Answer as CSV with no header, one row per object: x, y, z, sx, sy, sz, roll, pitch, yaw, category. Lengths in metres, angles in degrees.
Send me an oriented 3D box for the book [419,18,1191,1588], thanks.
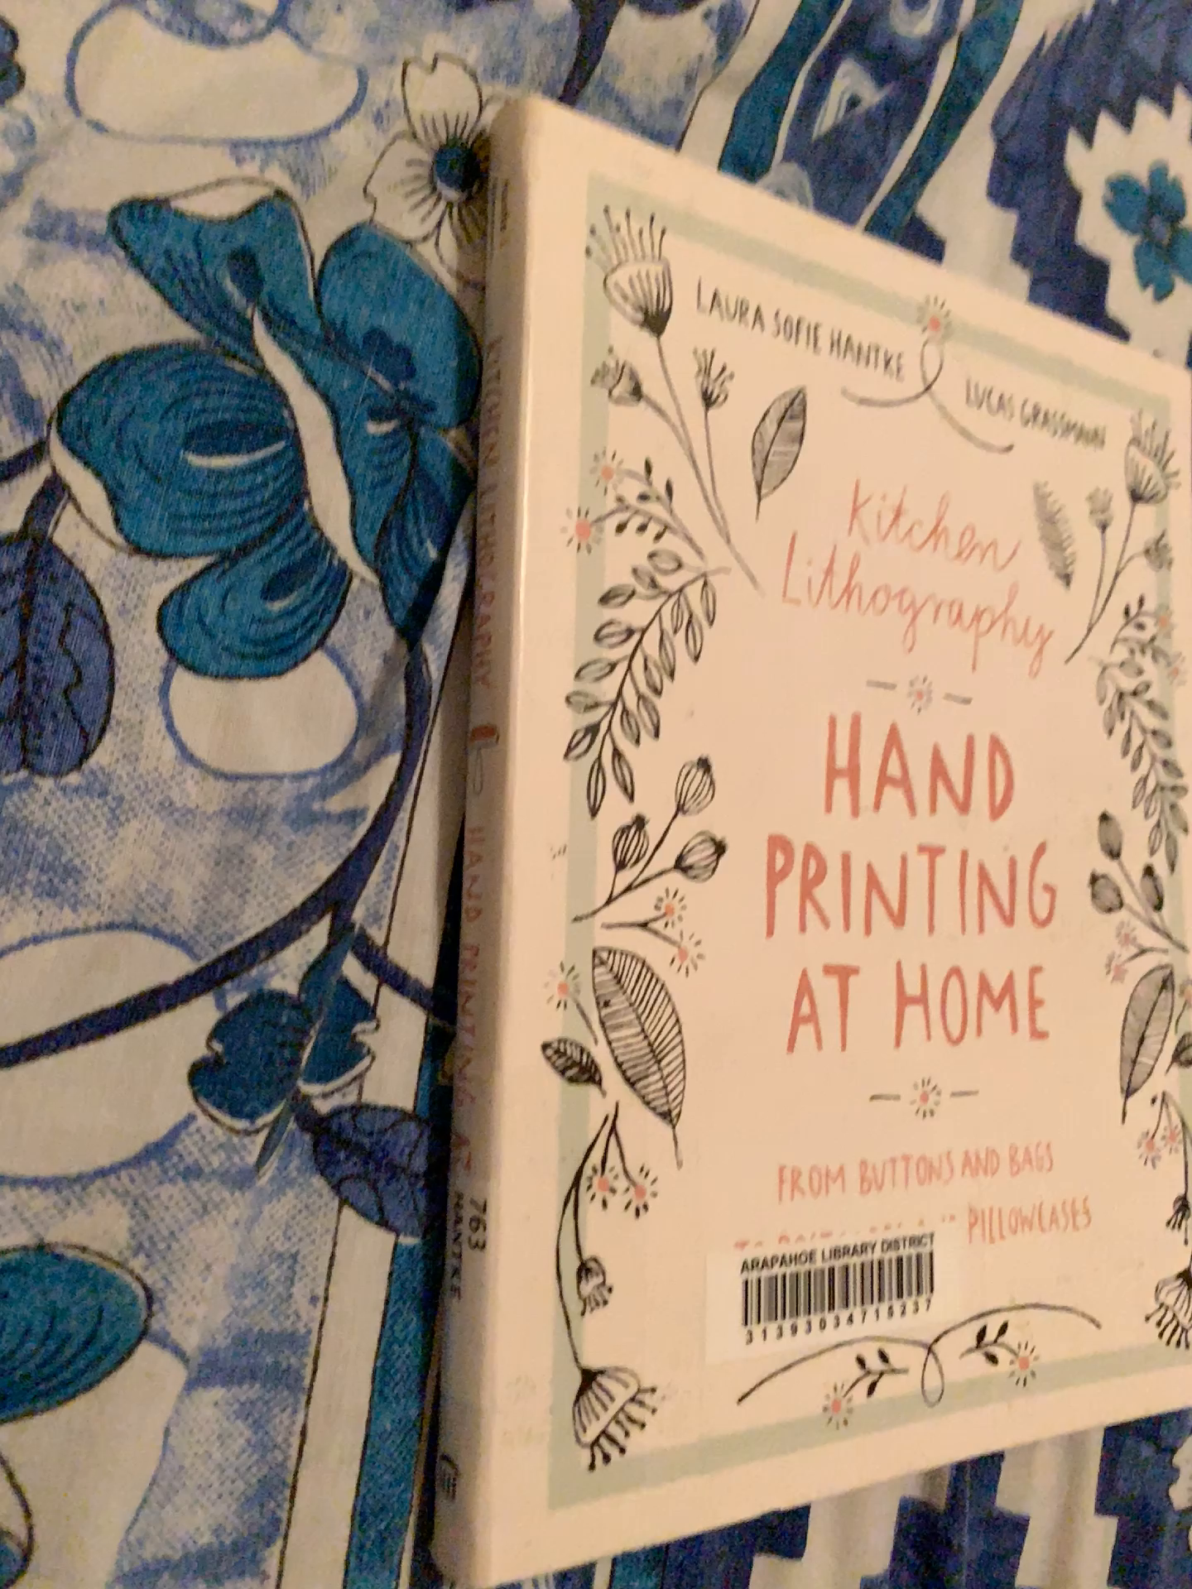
0.055,0.002,0.222,0.171,0.020,0.220,6,81,-31,book
